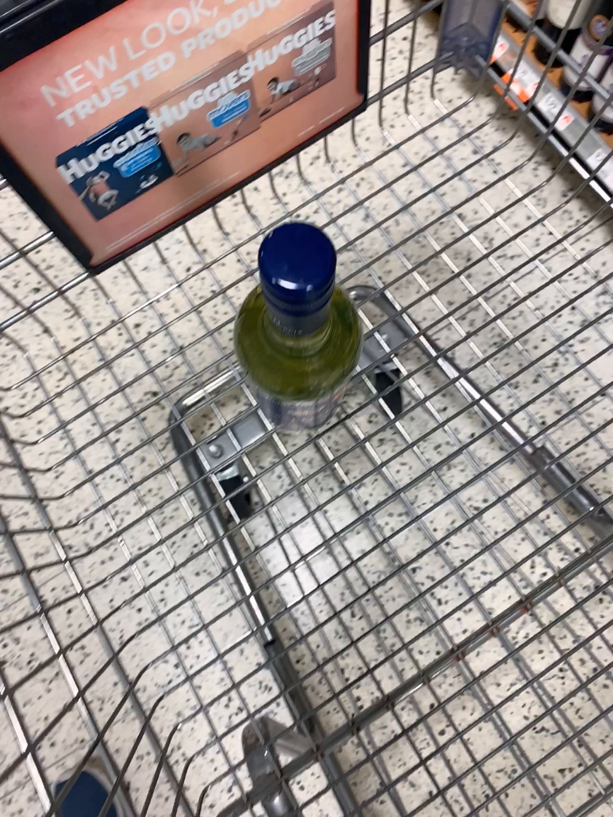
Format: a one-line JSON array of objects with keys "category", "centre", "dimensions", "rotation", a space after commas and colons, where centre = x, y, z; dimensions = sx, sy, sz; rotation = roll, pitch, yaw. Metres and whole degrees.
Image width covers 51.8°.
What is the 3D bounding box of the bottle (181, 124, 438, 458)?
[{"category": "bottle", "centre": [-0.002, -0.042, 0.400], "dimensions": [0.090, 0.279, 0.080], "rotation": [-14, 76, -4]}]
